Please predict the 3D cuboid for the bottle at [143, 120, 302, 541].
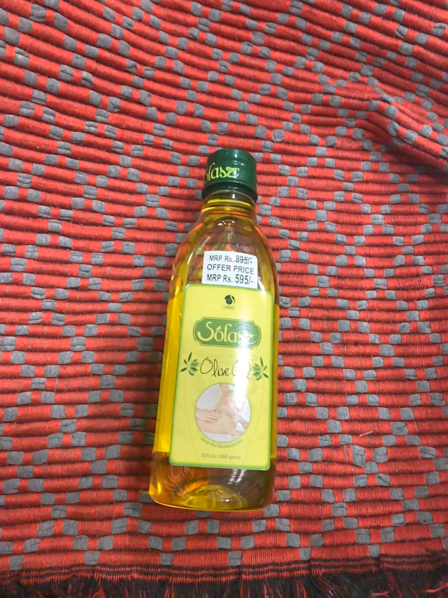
[{"bbox_3d":[0.003,0.011,0.269,0.070,0.060,0.220,5,71,-4],"label":"bottle"}]
